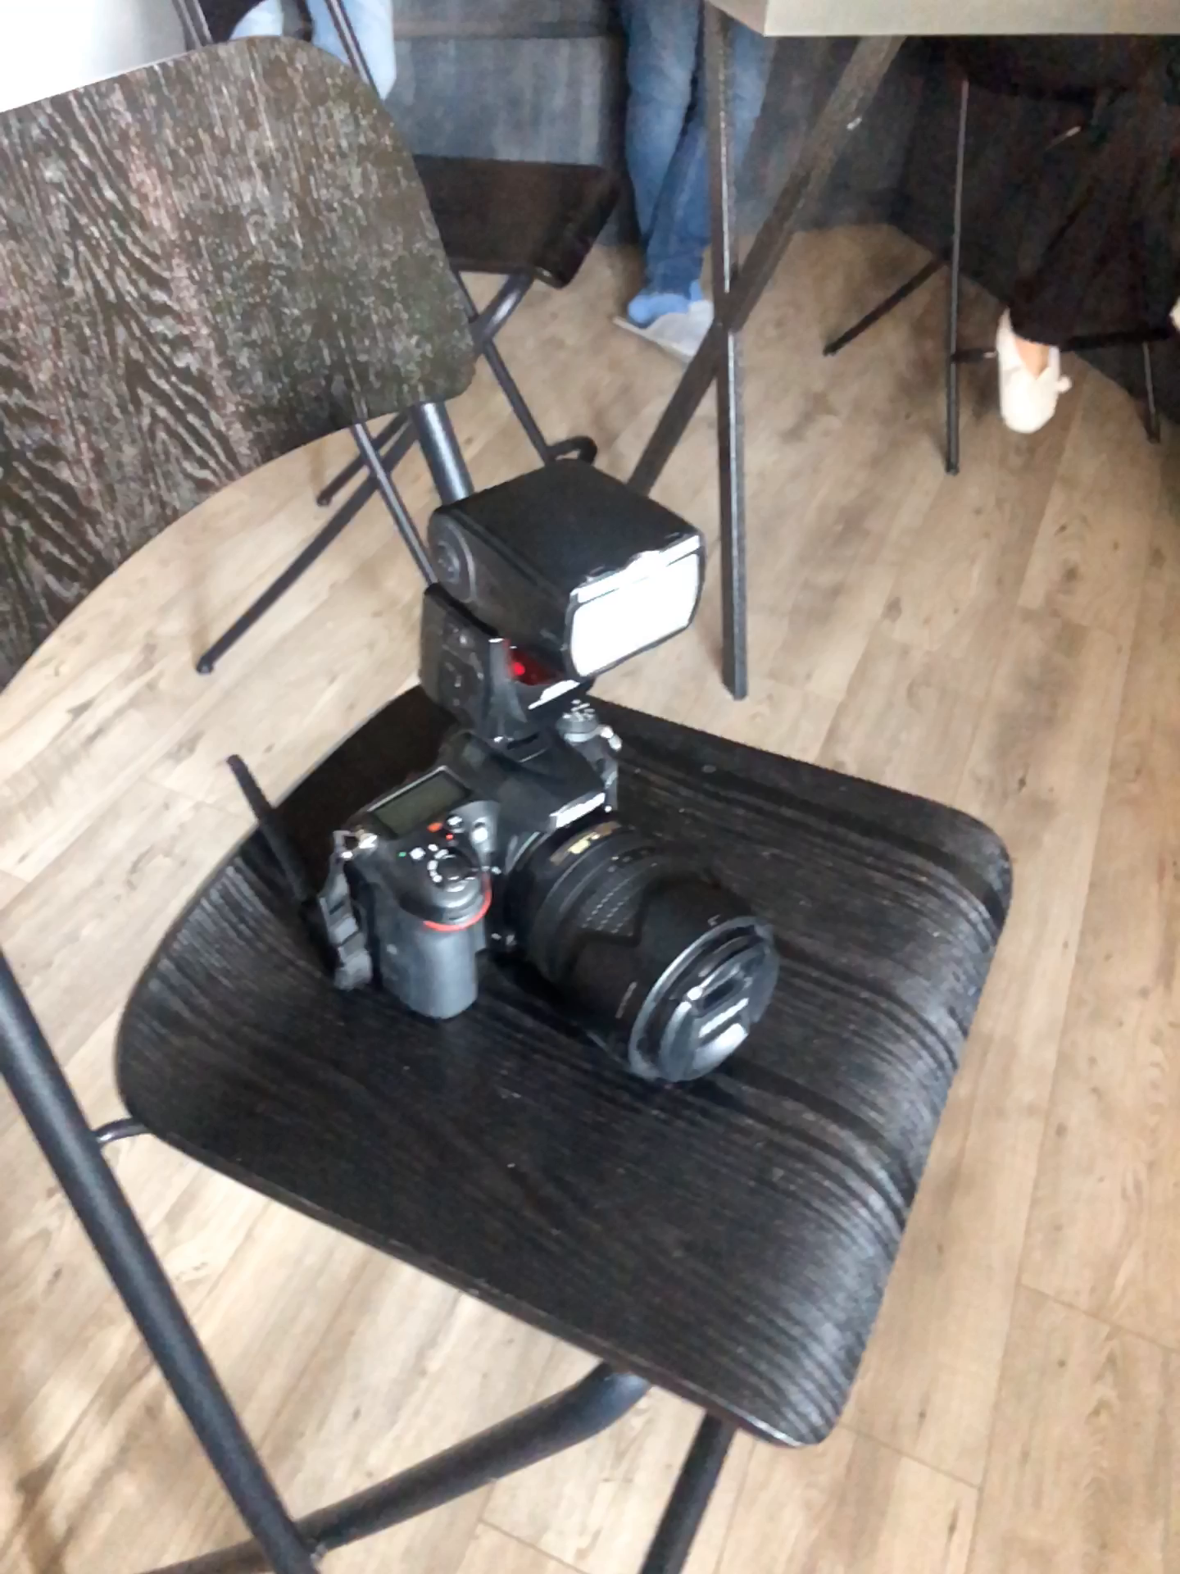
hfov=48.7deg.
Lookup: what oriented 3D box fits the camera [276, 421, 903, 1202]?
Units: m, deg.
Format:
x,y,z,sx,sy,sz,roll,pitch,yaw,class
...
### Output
x,y,z,sx,sy,sz,roll,pitch,yaw,class
-0.008,0.011,0.503,0.125,0.217,0.167,-32,56,-30,camera
